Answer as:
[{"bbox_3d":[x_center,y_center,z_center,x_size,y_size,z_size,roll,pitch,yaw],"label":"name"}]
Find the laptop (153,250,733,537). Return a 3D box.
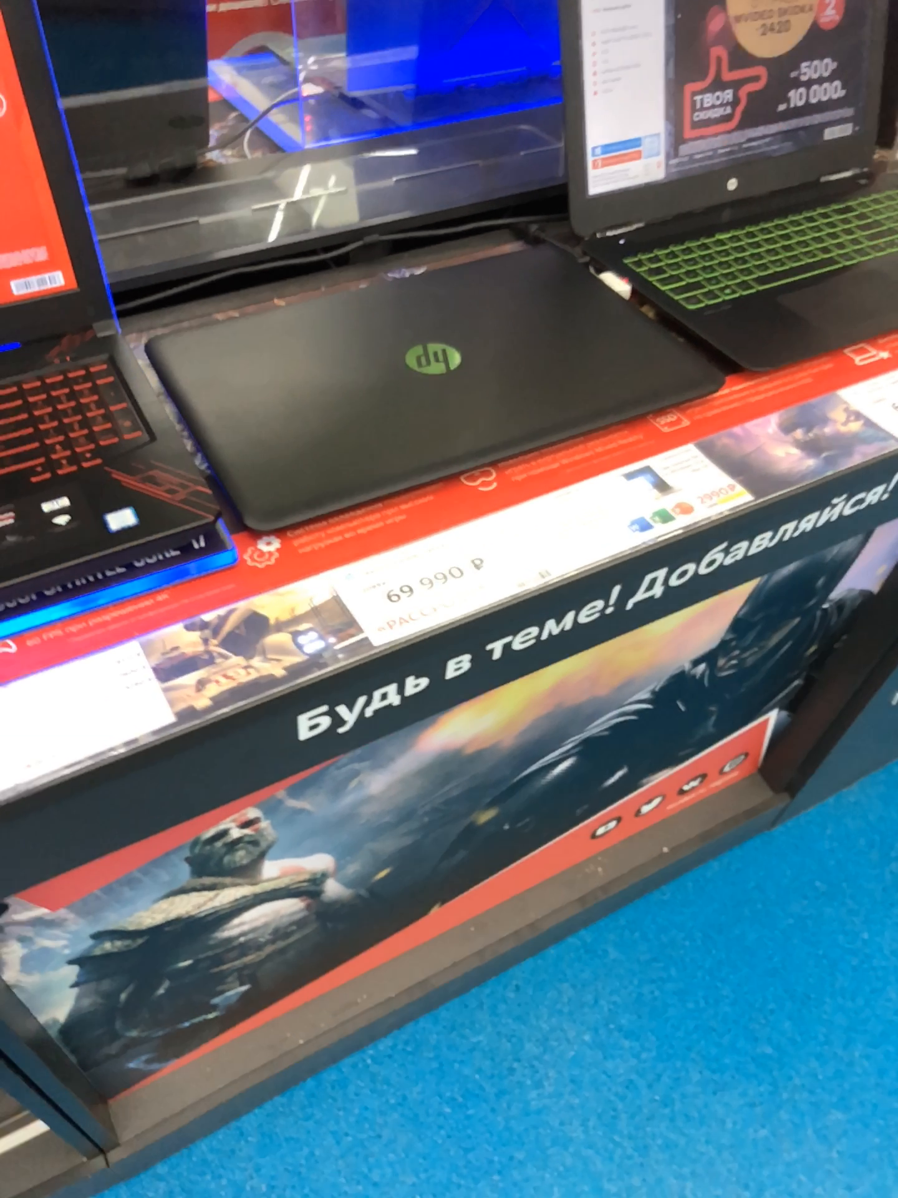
[{"bbox_3d":[-0.006,-0.173,0.746,0.366,0.012,0.233,-19,50,-21],"label":"laptop"}]
